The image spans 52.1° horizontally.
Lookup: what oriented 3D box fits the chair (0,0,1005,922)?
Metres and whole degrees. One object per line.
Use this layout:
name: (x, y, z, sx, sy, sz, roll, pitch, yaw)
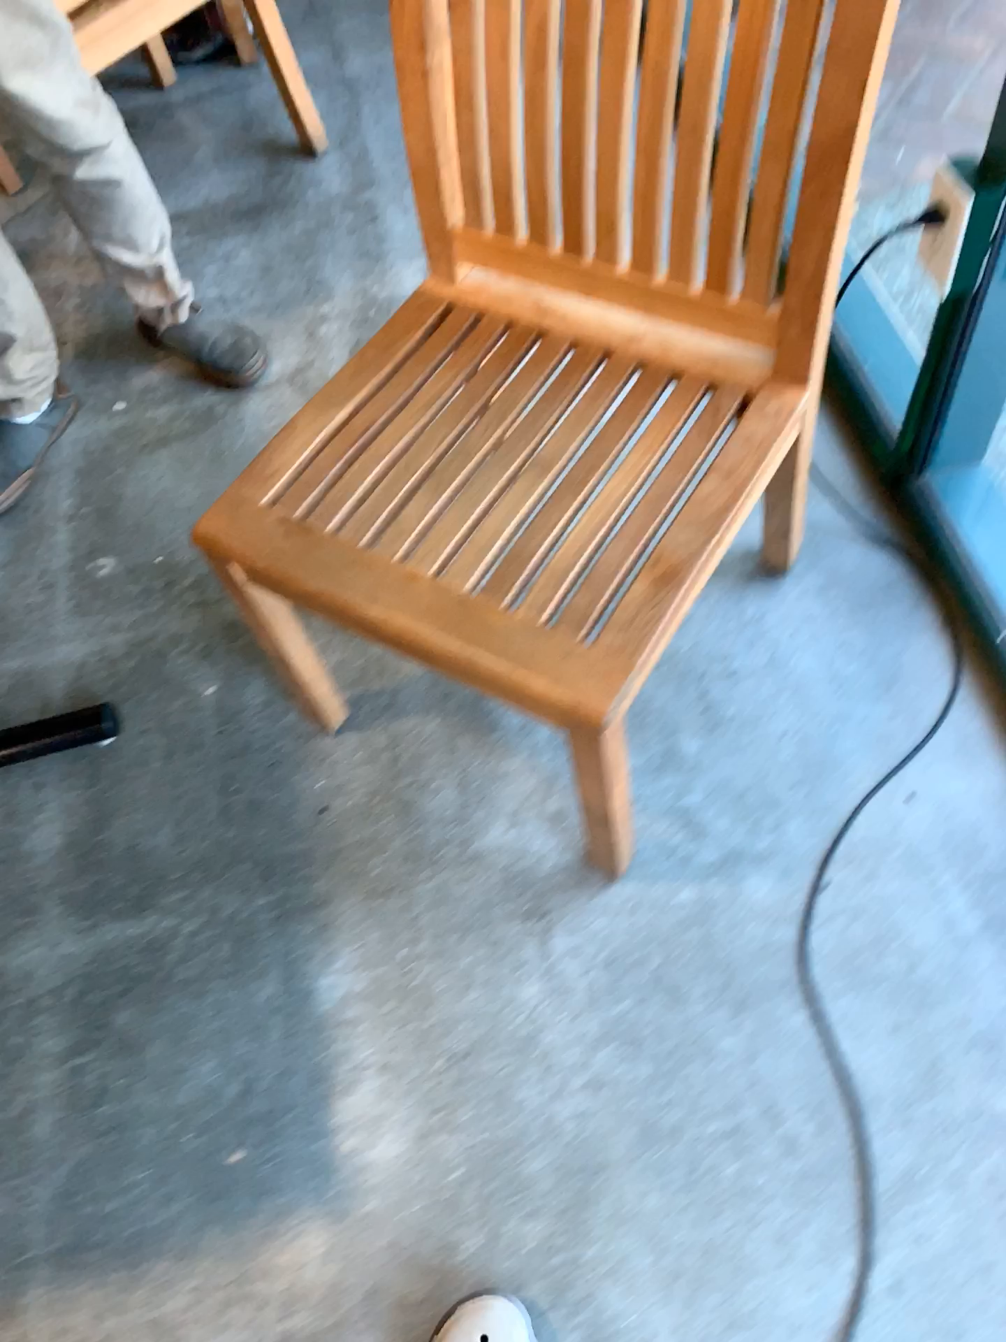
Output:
chair: (0.005, -0.281, 1.022, 0.531, 0.916, 0.611, 26, 66, 22)
